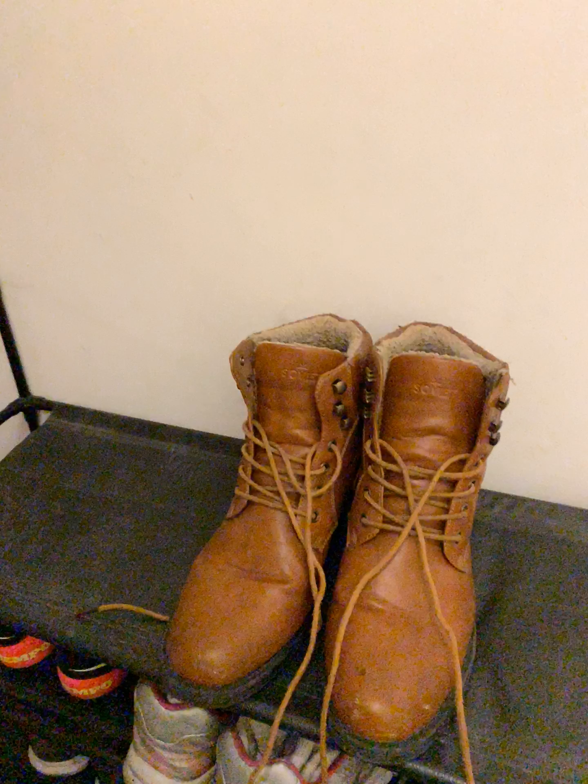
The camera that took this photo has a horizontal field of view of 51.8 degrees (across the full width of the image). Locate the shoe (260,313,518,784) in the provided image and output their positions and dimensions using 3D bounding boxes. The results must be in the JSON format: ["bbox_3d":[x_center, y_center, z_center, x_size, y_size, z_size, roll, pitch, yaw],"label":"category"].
[{"bbox_3d":[0.080,0.090,0.420,0.110,0.198,0.242,8,33,18],"label":"shoe"}]

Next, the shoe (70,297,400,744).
[{"bbox_3d":[-0.015,0.074,0.480,0.110,0.198,0.272,12,34,24],"label":"shoe"}]
